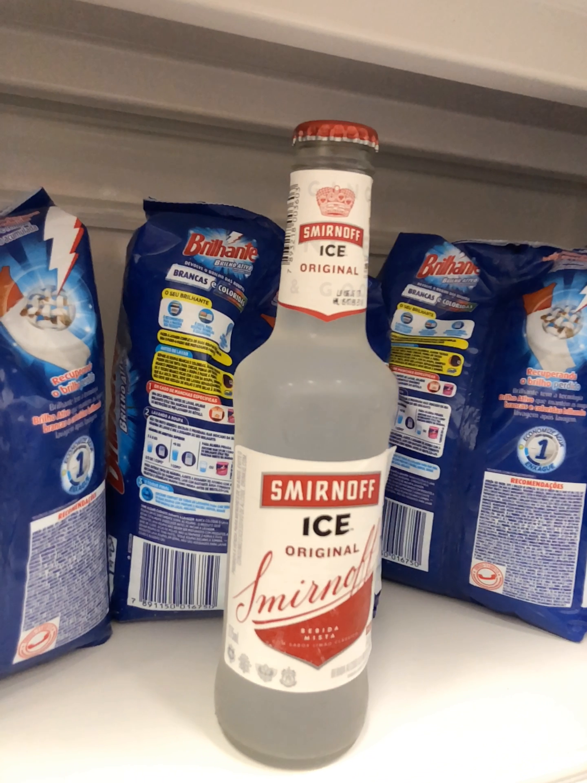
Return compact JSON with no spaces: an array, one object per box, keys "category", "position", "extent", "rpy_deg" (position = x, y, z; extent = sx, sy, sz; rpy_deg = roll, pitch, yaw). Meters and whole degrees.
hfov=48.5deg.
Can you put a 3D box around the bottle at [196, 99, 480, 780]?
[{"category":"bottle","position":[0.007,0.019,0.231],"extent":[0.070,0.209,0.060],"rpy_deg":[2,10,-13]}]
